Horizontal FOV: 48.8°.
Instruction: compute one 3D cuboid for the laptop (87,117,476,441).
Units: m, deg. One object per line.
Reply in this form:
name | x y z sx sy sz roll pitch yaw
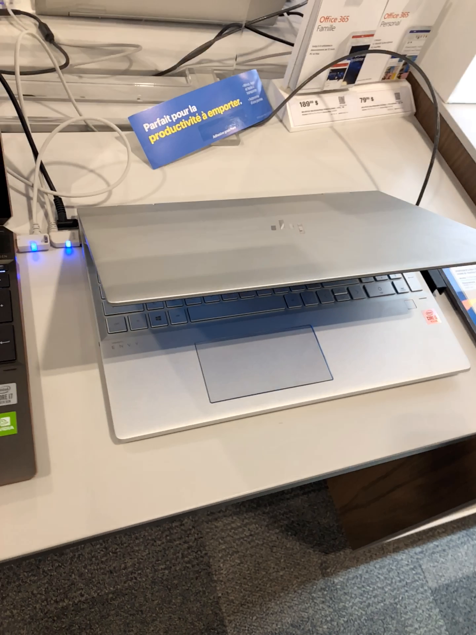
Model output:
laptop | 0.062 -0.052 0.467 0.346 0.116 0.230 -7 61 -18
